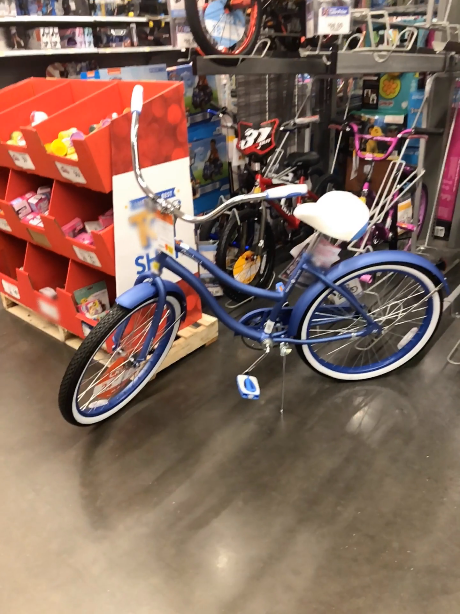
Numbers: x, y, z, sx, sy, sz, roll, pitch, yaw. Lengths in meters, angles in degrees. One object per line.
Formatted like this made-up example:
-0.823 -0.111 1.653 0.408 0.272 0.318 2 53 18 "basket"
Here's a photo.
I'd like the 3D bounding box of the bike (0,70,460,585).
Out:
0.112 -0.076 1.641 1.354 1.114 0.861 -11 27 -12 "bike"
